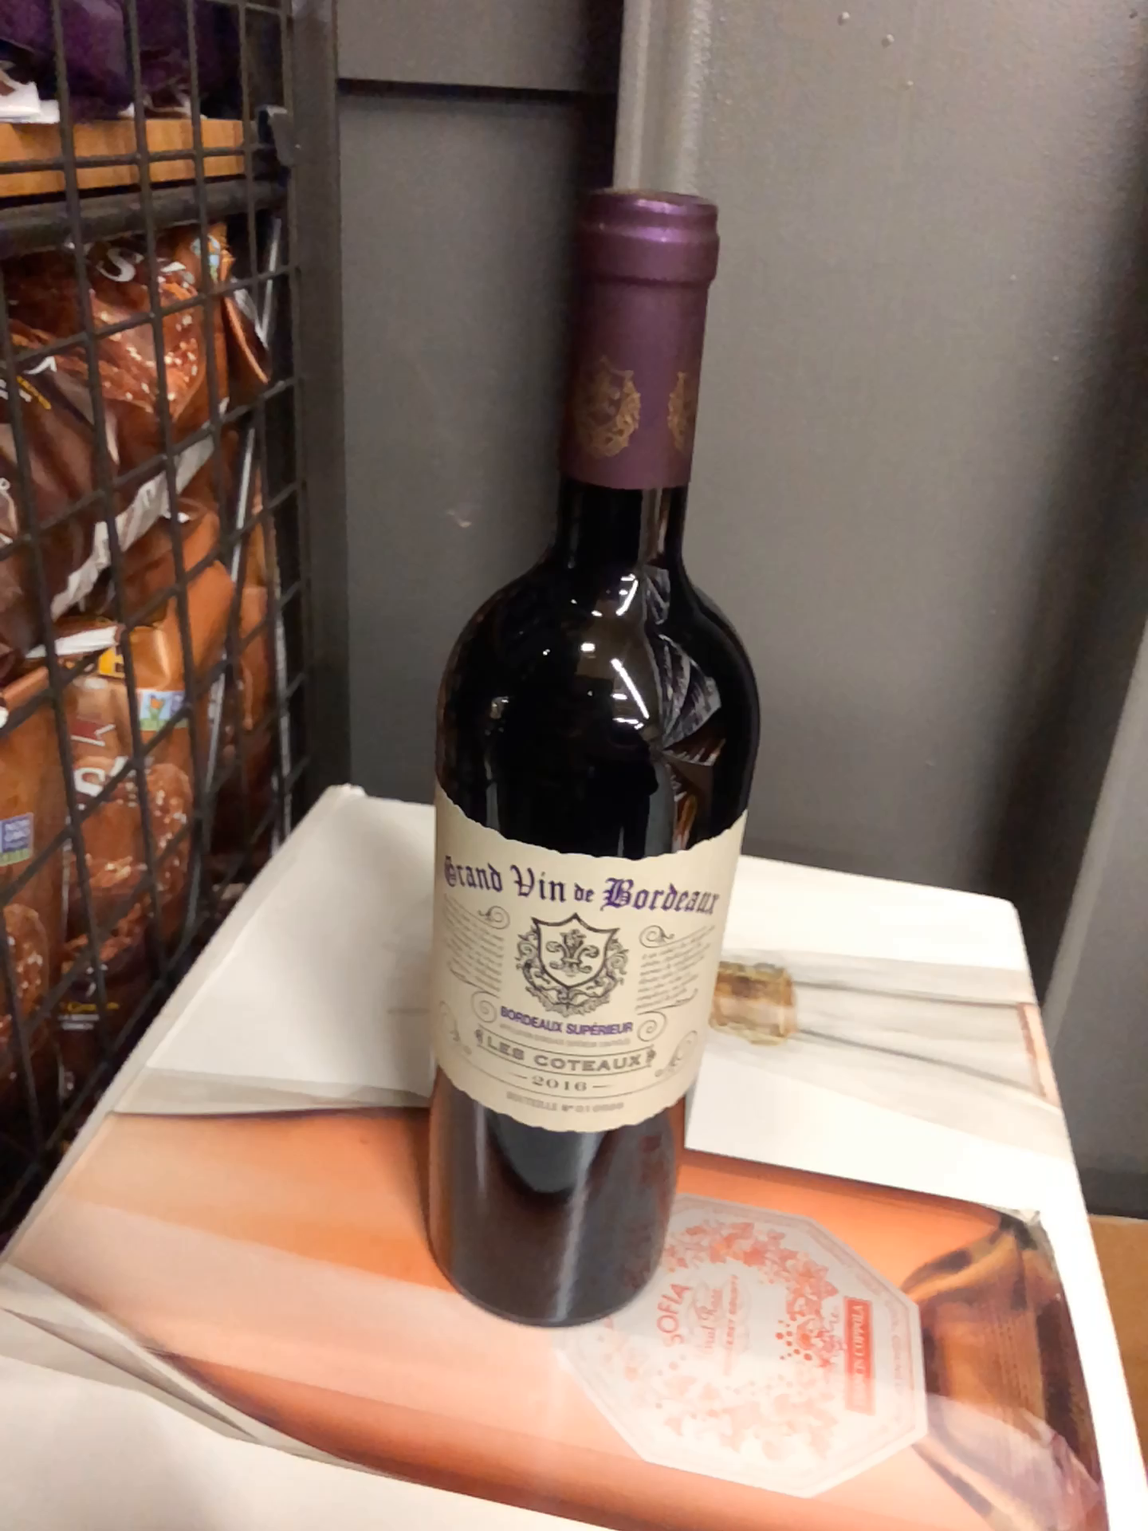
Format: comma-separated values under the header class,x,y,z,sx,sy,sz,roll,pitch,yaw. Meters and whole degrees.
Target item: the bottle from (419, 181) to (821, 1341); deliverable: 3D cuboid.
class,x,y,z,sx,sy,sz,roll,pitch,yaw
bottle,-0.003,0.011,0.331,0.073,0.290,0.085,0,27,-6
